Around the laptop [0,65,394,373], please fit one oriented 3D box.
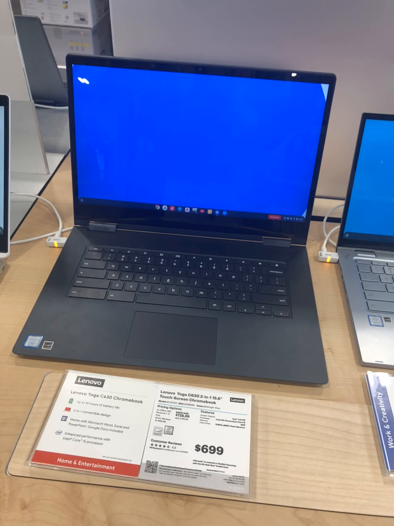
[{"bbox_3d":[-0.009,-0.069,0.524,0.343,0.230,0.293,5,40,3],"label":"laptop"}]
